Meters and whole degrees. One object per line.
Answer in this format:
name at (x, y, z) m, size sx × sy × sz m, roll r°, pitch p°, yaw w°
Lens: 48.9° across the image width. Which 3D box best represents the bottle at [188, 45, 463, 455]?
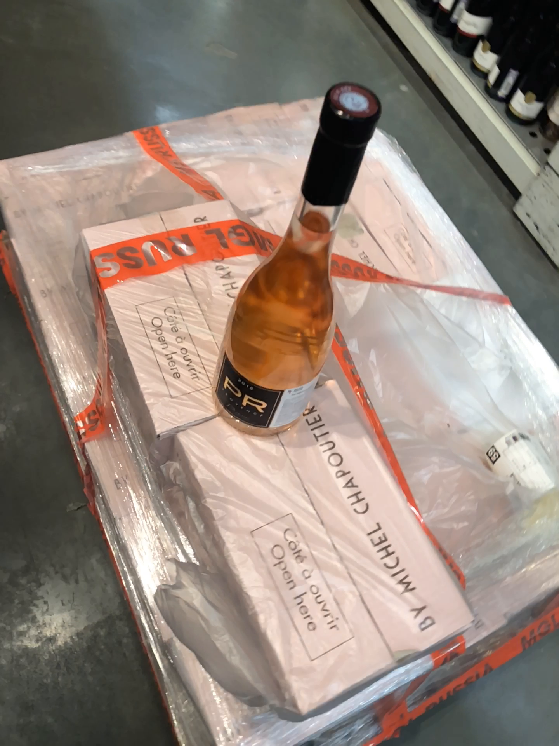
bottle at (0.011, -0.057, 0.433) m, size 0.100 × 0.279 × 0.097 m, roll 5°, pitch 60°, yaw -9°
